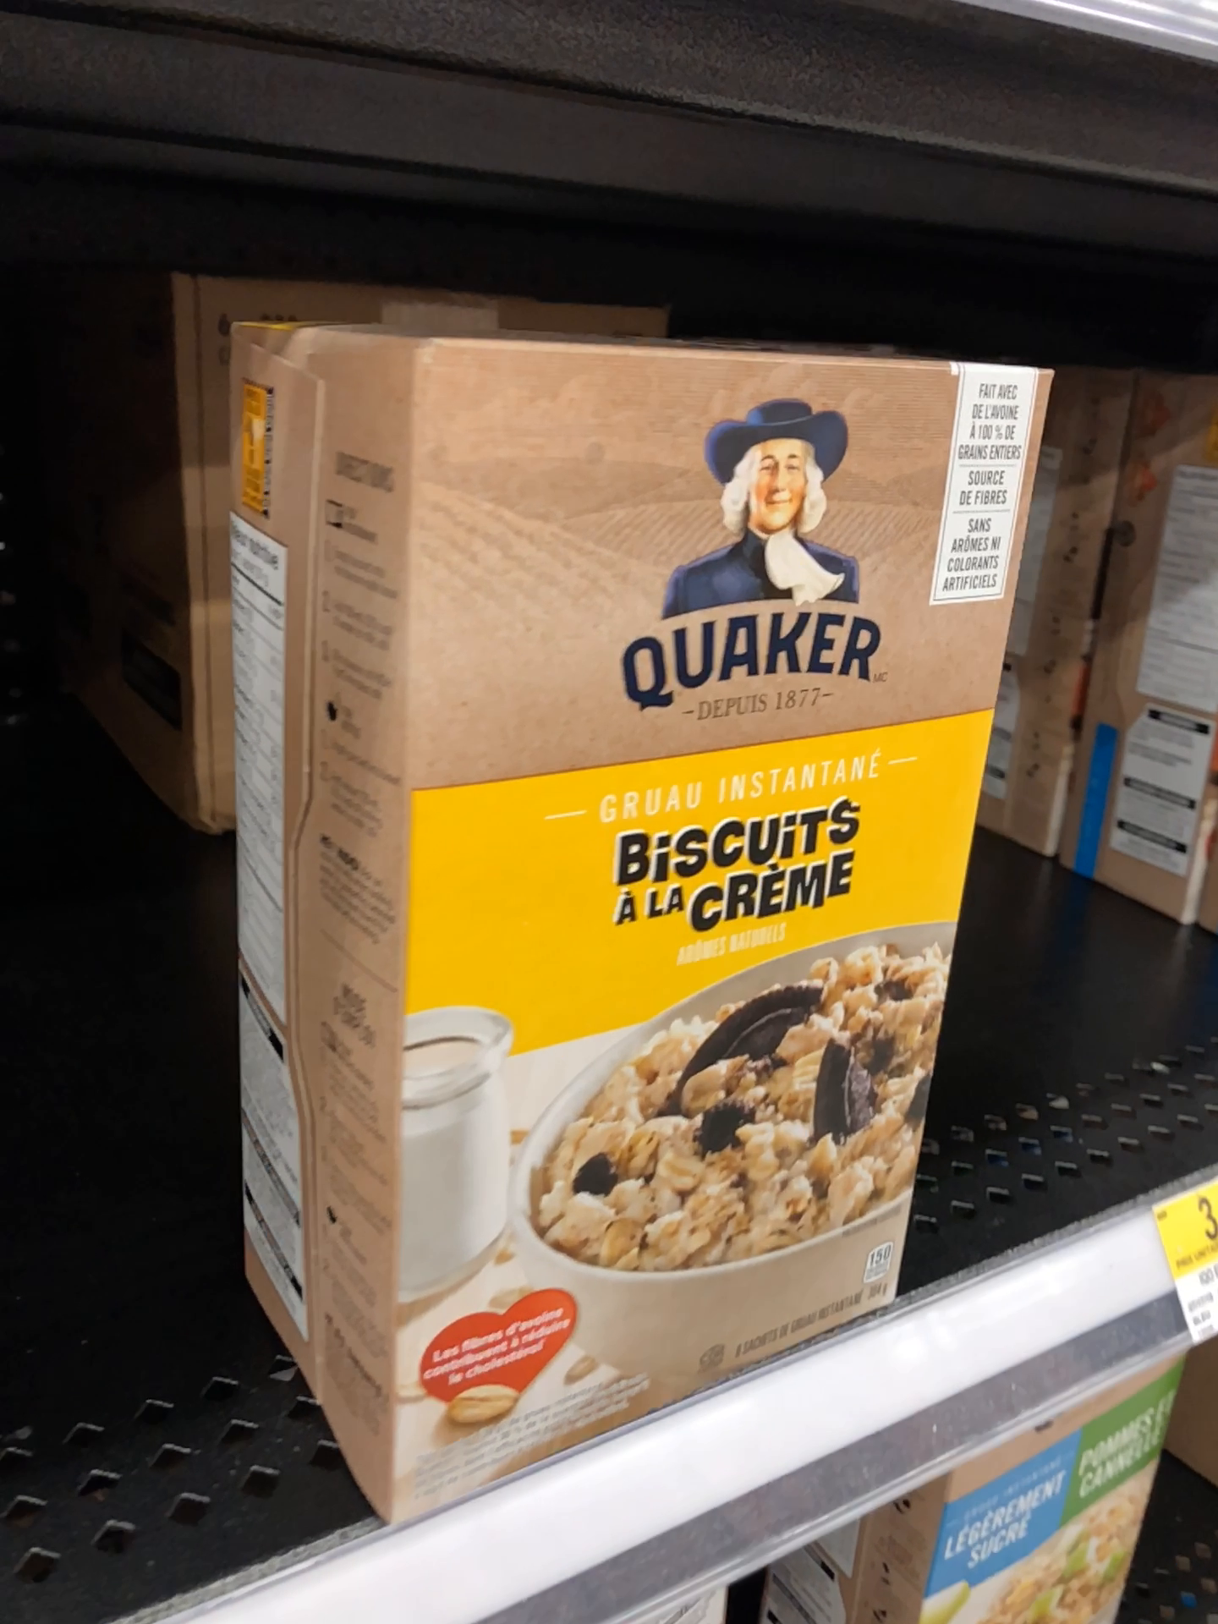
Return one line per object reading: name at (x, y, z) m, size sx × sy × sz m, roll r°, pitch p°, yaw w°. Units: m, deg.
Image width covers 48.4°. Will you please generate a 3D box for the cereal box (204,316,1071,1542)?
cereal box at (-0.001, 0.011, 0.256) m, size 0.120 × 0.189 × 0.080 m, roll -9°, pitch 23°, yaw -31°
